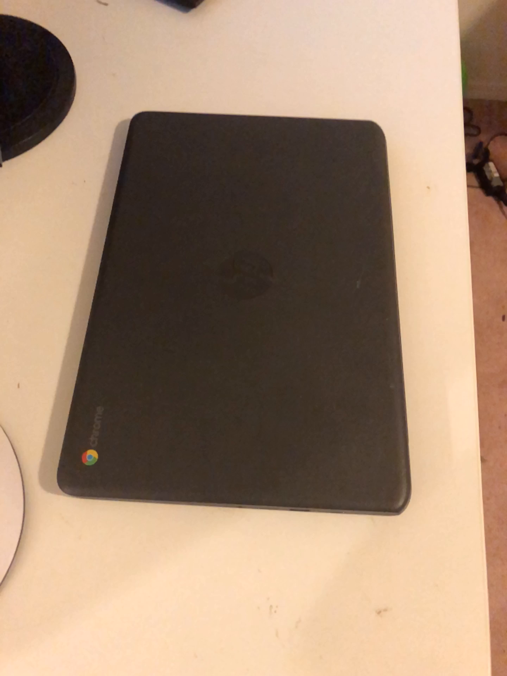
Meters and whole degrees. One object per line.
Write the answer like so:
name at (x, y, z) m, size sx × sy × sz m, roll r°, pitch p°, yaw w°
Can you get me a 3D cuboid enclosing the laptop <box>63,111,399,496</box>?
laptop at (-0.007, -0.051, 0.419) m, size 0.208 × 0.001 × 0.327 m, roll 2°, pitch 63°, yaw 0°
